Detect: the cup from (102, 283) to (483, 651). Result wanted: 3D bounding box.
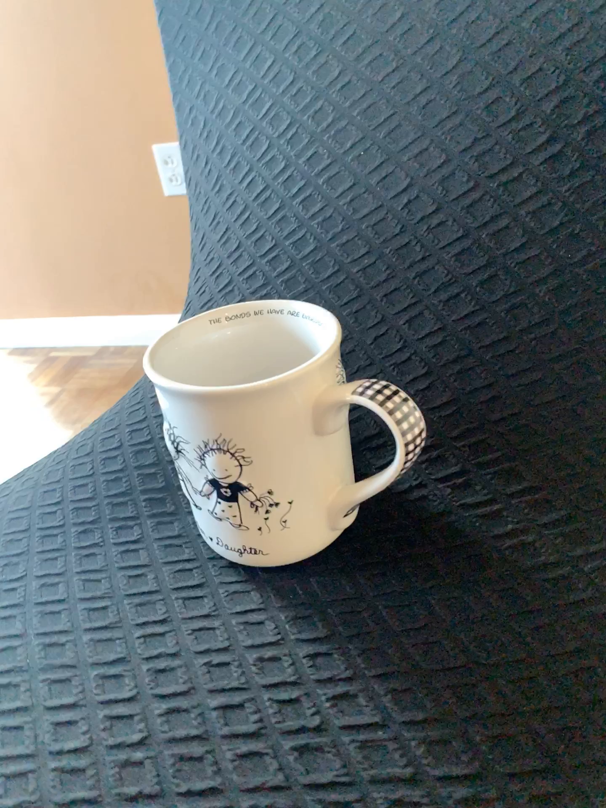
[{"bbox_3d":[0.000,0.019,0.309,0.141,0.109,0.100,16,41,36],"label":"cup"}]
